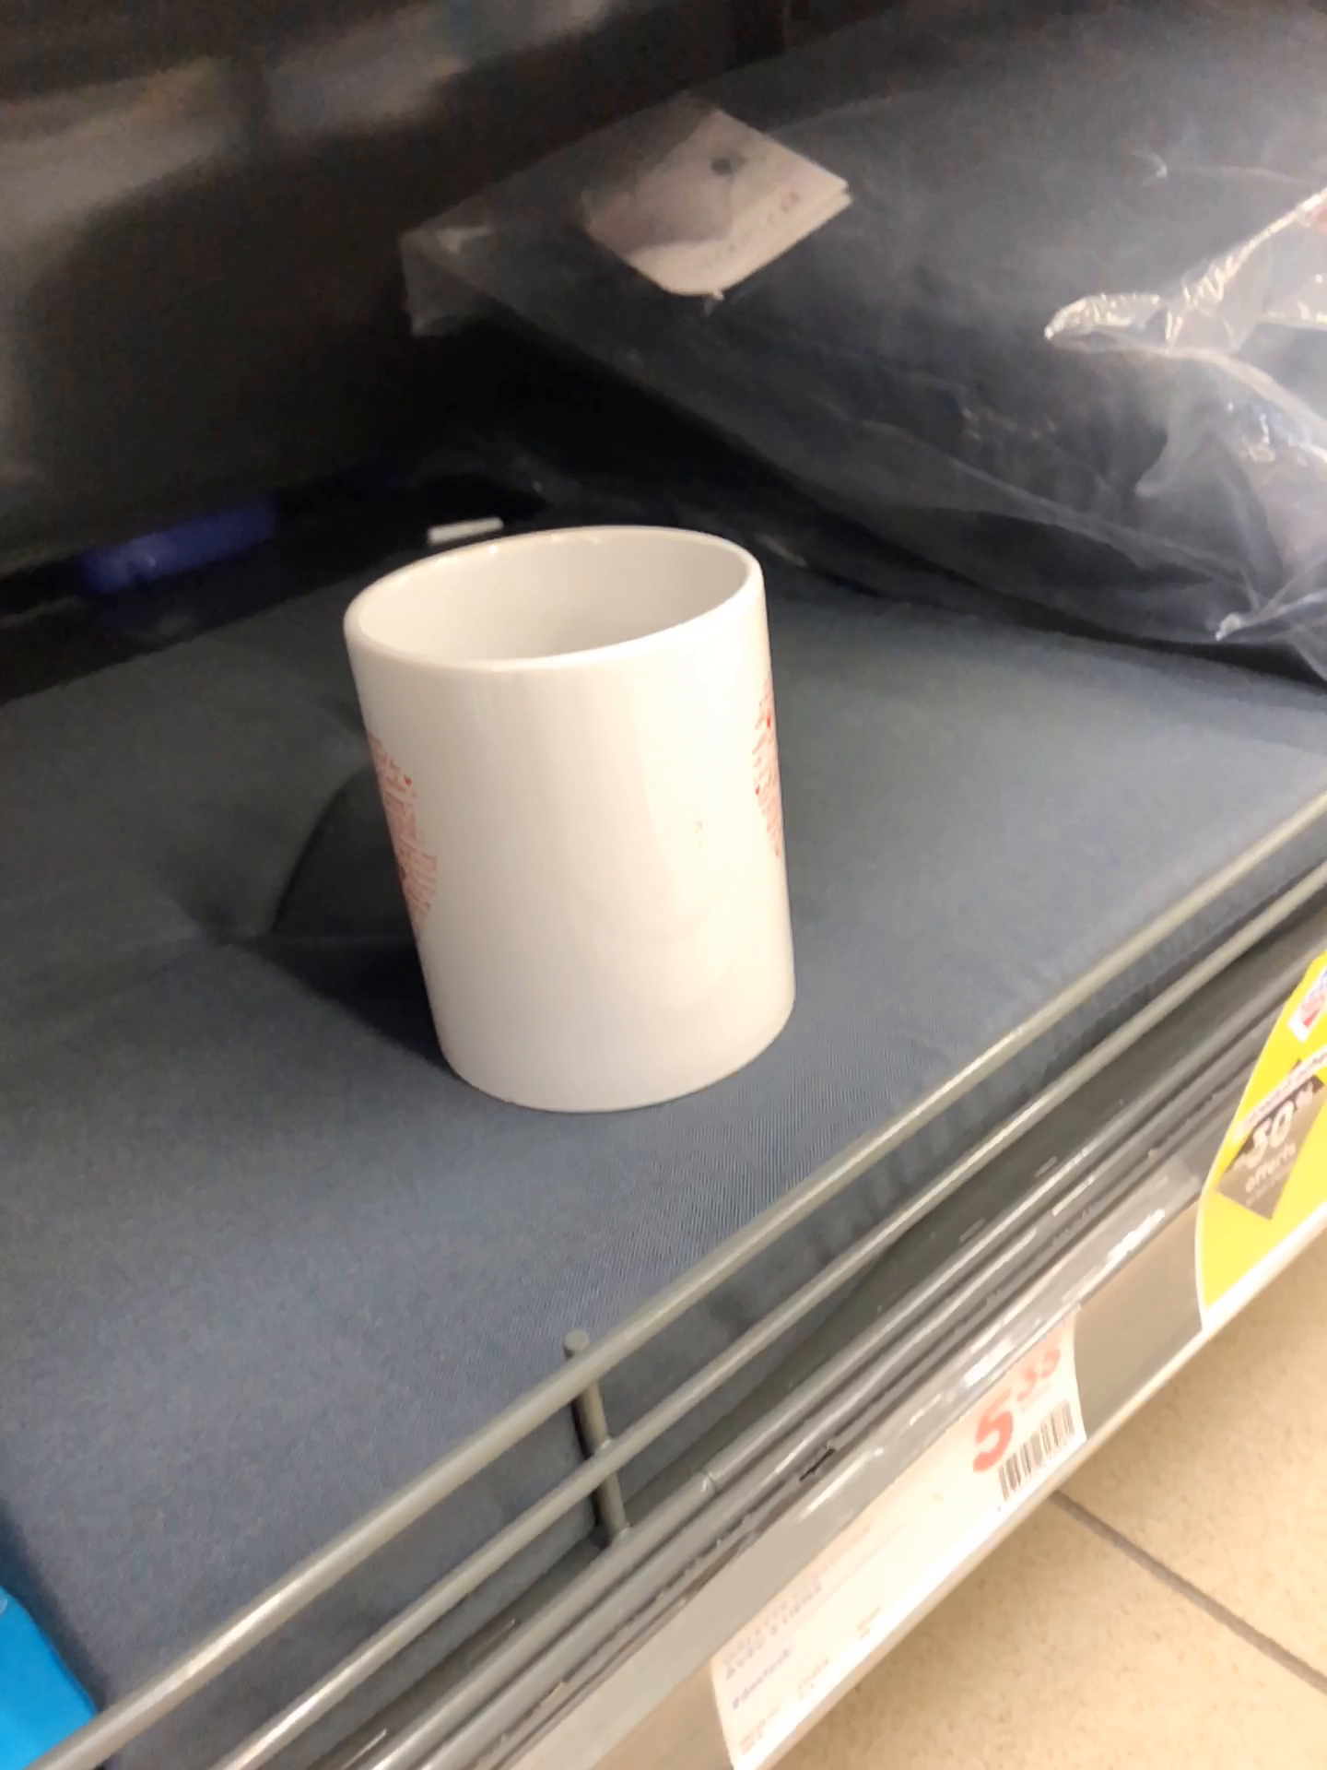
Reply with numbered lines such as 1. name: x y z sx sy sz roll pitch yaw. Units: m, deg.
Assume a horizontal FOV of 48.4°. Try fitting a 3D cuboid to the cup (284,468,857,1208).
1. cup: -0.023 -0.018 0.317 0.090 0.099 0.121 -12 30 -7
